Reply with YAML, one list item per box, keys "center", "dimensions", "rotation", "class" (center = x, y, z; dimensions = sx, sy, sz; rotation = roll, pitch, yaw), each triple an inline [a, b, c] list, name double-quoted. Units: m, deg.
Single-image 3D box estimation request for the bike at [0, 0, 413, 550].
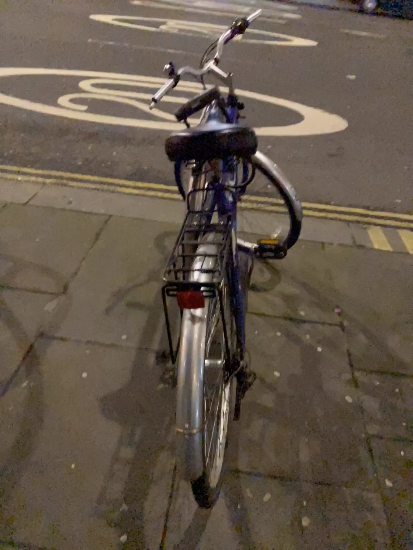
- center: [-0.089, -0.236, 1.386]
  dimensions: [0.655, 1.108, 1.604]
  rotation: [1, 40, -5]
  class: "bike"
